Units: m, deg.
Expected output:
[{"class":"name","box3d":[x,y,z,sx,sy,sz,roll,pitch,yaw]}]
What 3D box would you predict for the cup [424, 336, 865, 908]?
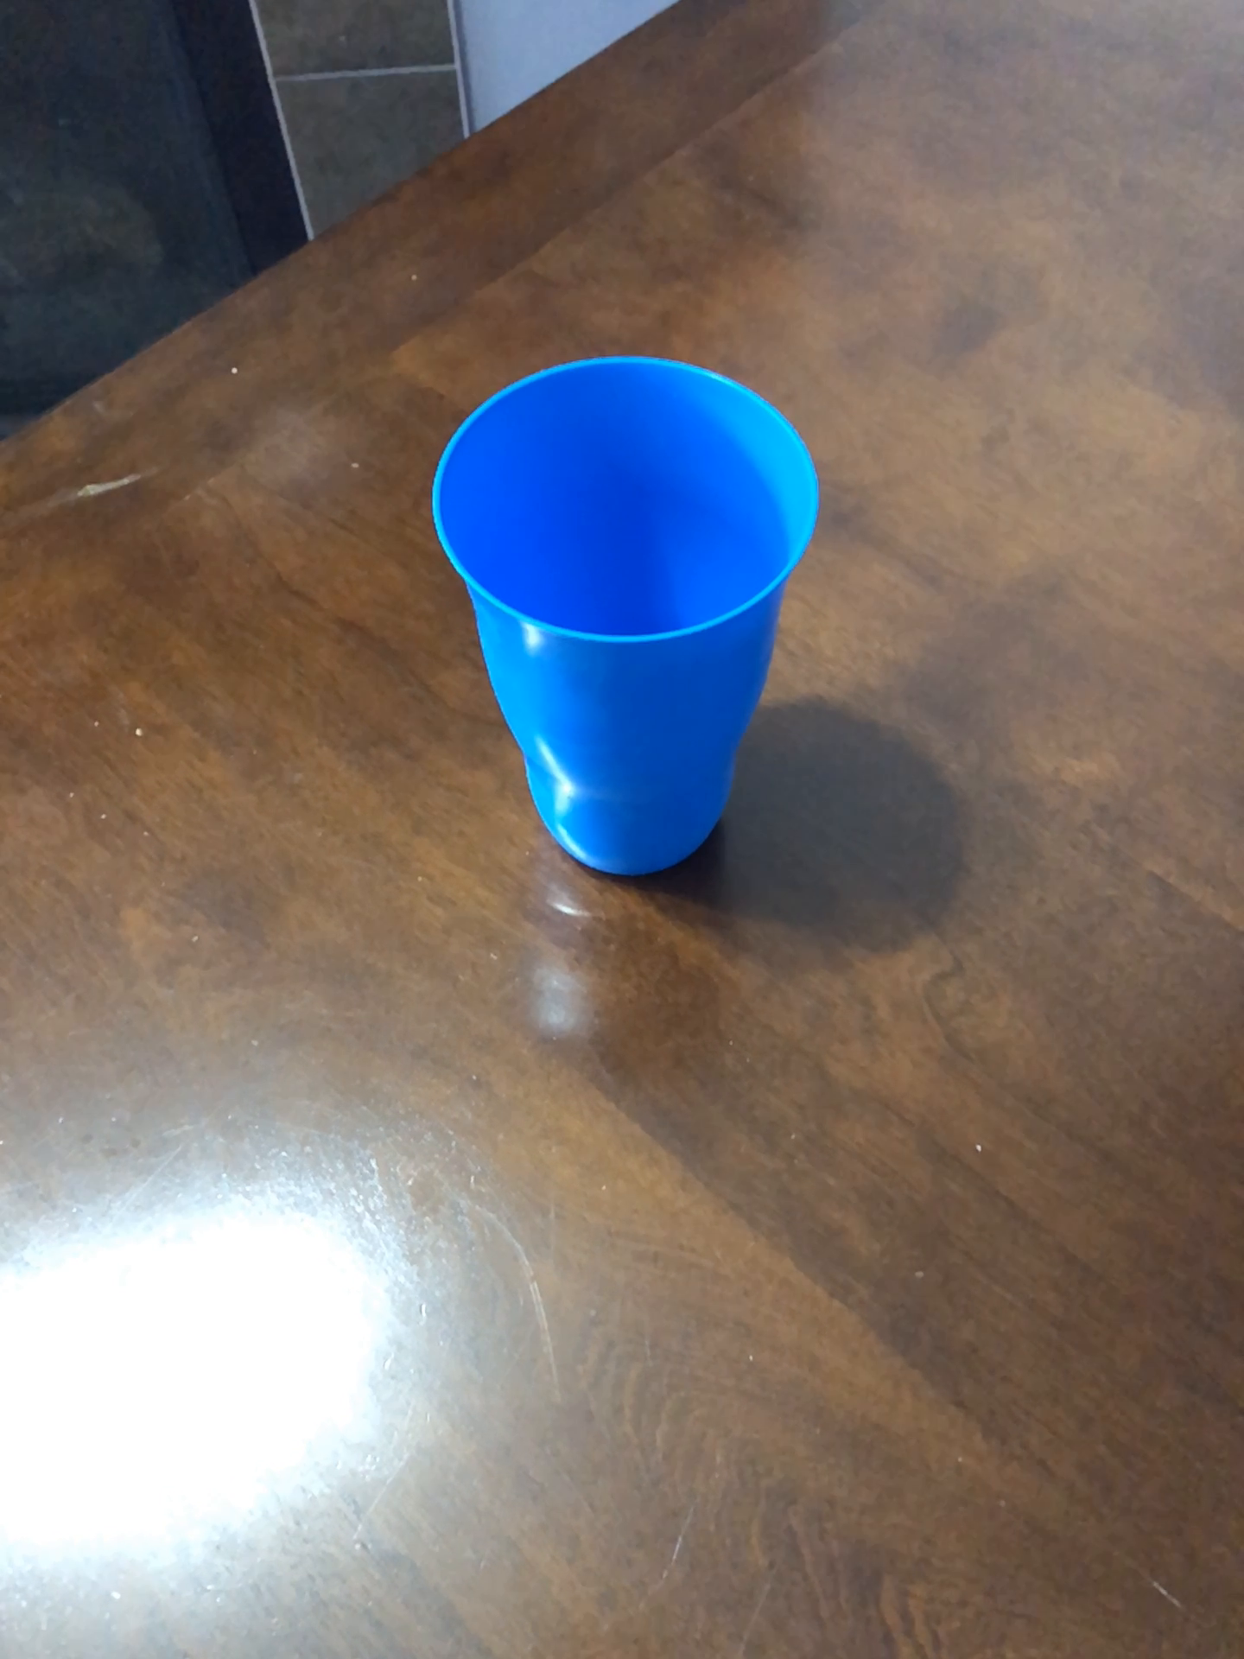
[{"class":"cup","box3d":[0.005,-0.053,0.394,0.100,0.130,0.100,0,59,1]}]
